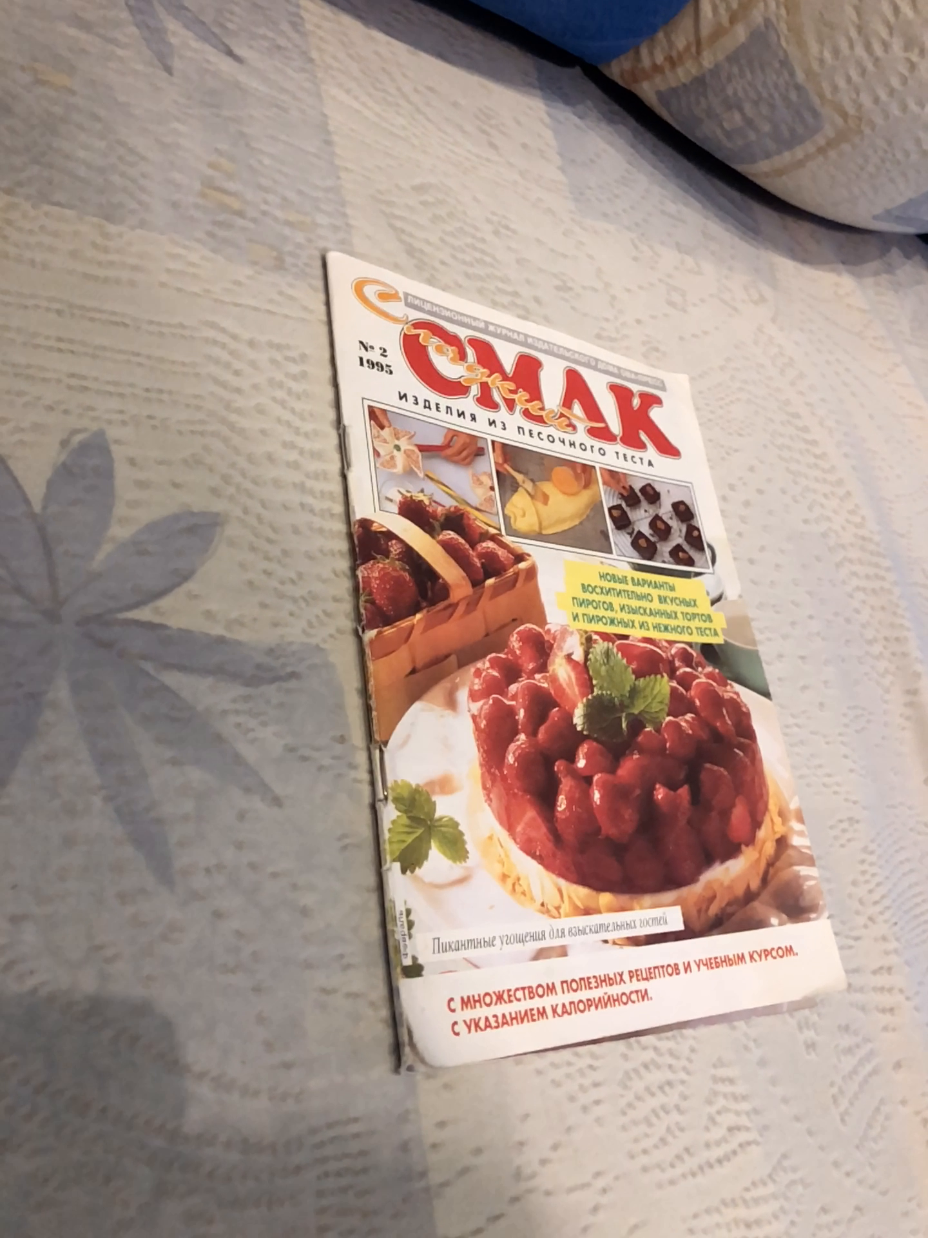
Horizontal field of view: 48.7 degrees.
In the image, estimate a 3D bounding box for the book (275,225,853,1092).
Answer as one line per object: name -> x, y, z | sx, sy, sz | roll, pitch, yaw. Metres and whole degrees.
book -> 0.033, 0.005, 0.328 | 0.178, 0.020, 0.241 | 7, 66, -36
